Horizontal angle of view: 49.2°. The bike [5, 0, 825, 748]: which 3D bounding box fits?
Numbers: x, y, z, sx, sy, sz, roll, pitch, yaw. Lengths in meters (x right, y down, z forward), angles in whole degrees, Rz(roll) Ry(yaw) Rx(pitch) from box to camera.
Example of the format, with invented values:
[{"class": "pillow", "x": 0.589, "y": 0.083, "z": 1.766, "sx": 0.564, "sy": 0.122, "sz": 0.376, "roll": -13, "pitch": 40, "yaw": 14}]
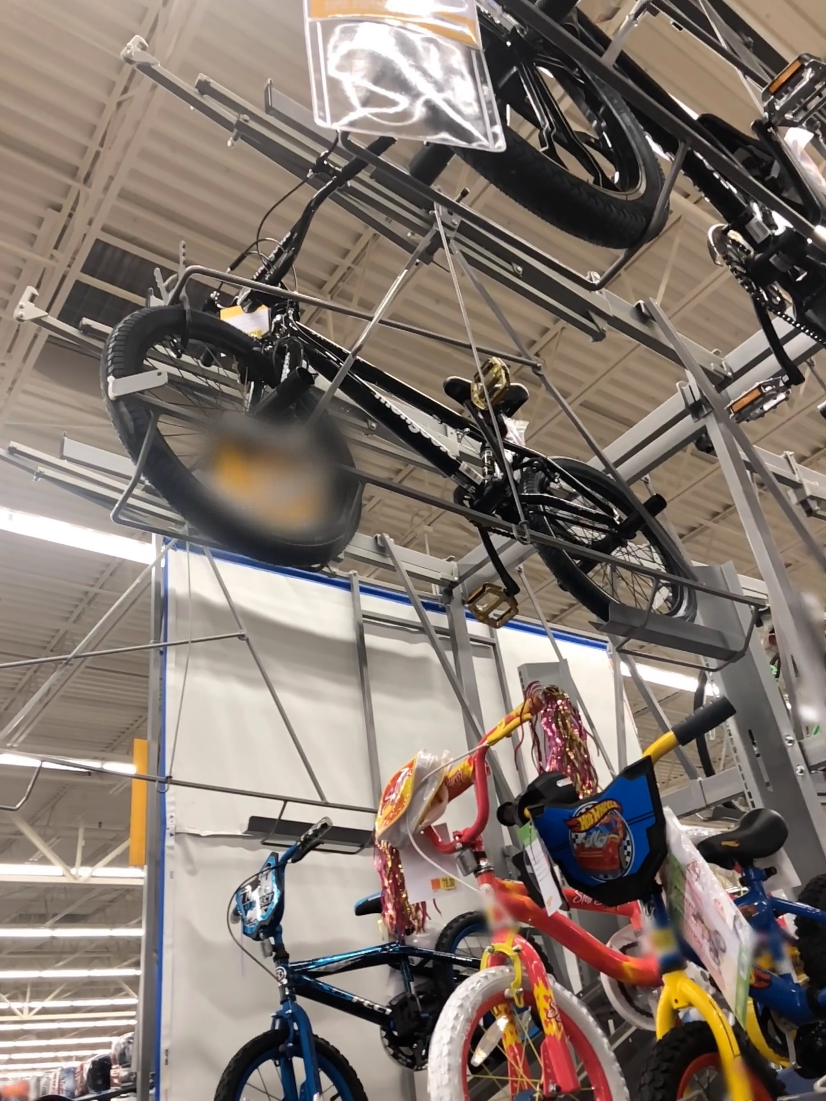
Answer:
[{"class": "bike", "x": 0.025, "y": -0.227, "z": 1.856, "sx": 1.350, "sy": 0.910, "sz": 0.751, "roll": 15, "pitch": -38, "yaw": -33}]
